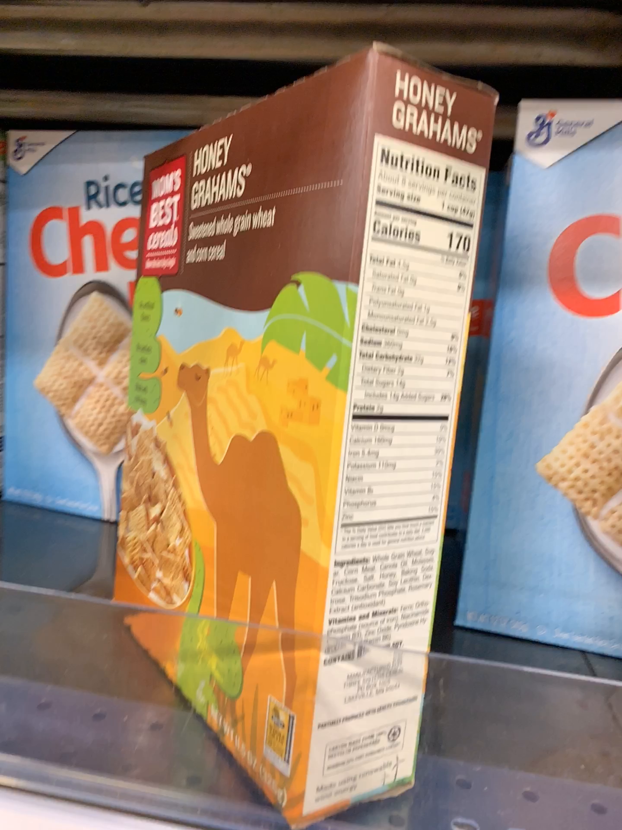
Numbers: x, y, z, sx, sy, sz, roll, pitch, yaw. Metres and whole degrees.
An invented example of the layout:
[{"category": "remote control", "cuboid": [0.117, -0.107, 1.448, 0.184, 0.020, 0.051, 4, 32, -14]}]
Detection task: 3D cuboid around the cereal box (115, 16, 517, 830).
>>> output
[{"category": "cereal box", "cuboid": [-0.023, 0.000, 0.292, 0.050, 0.260, 0.200, 2, 7, -35]}]
